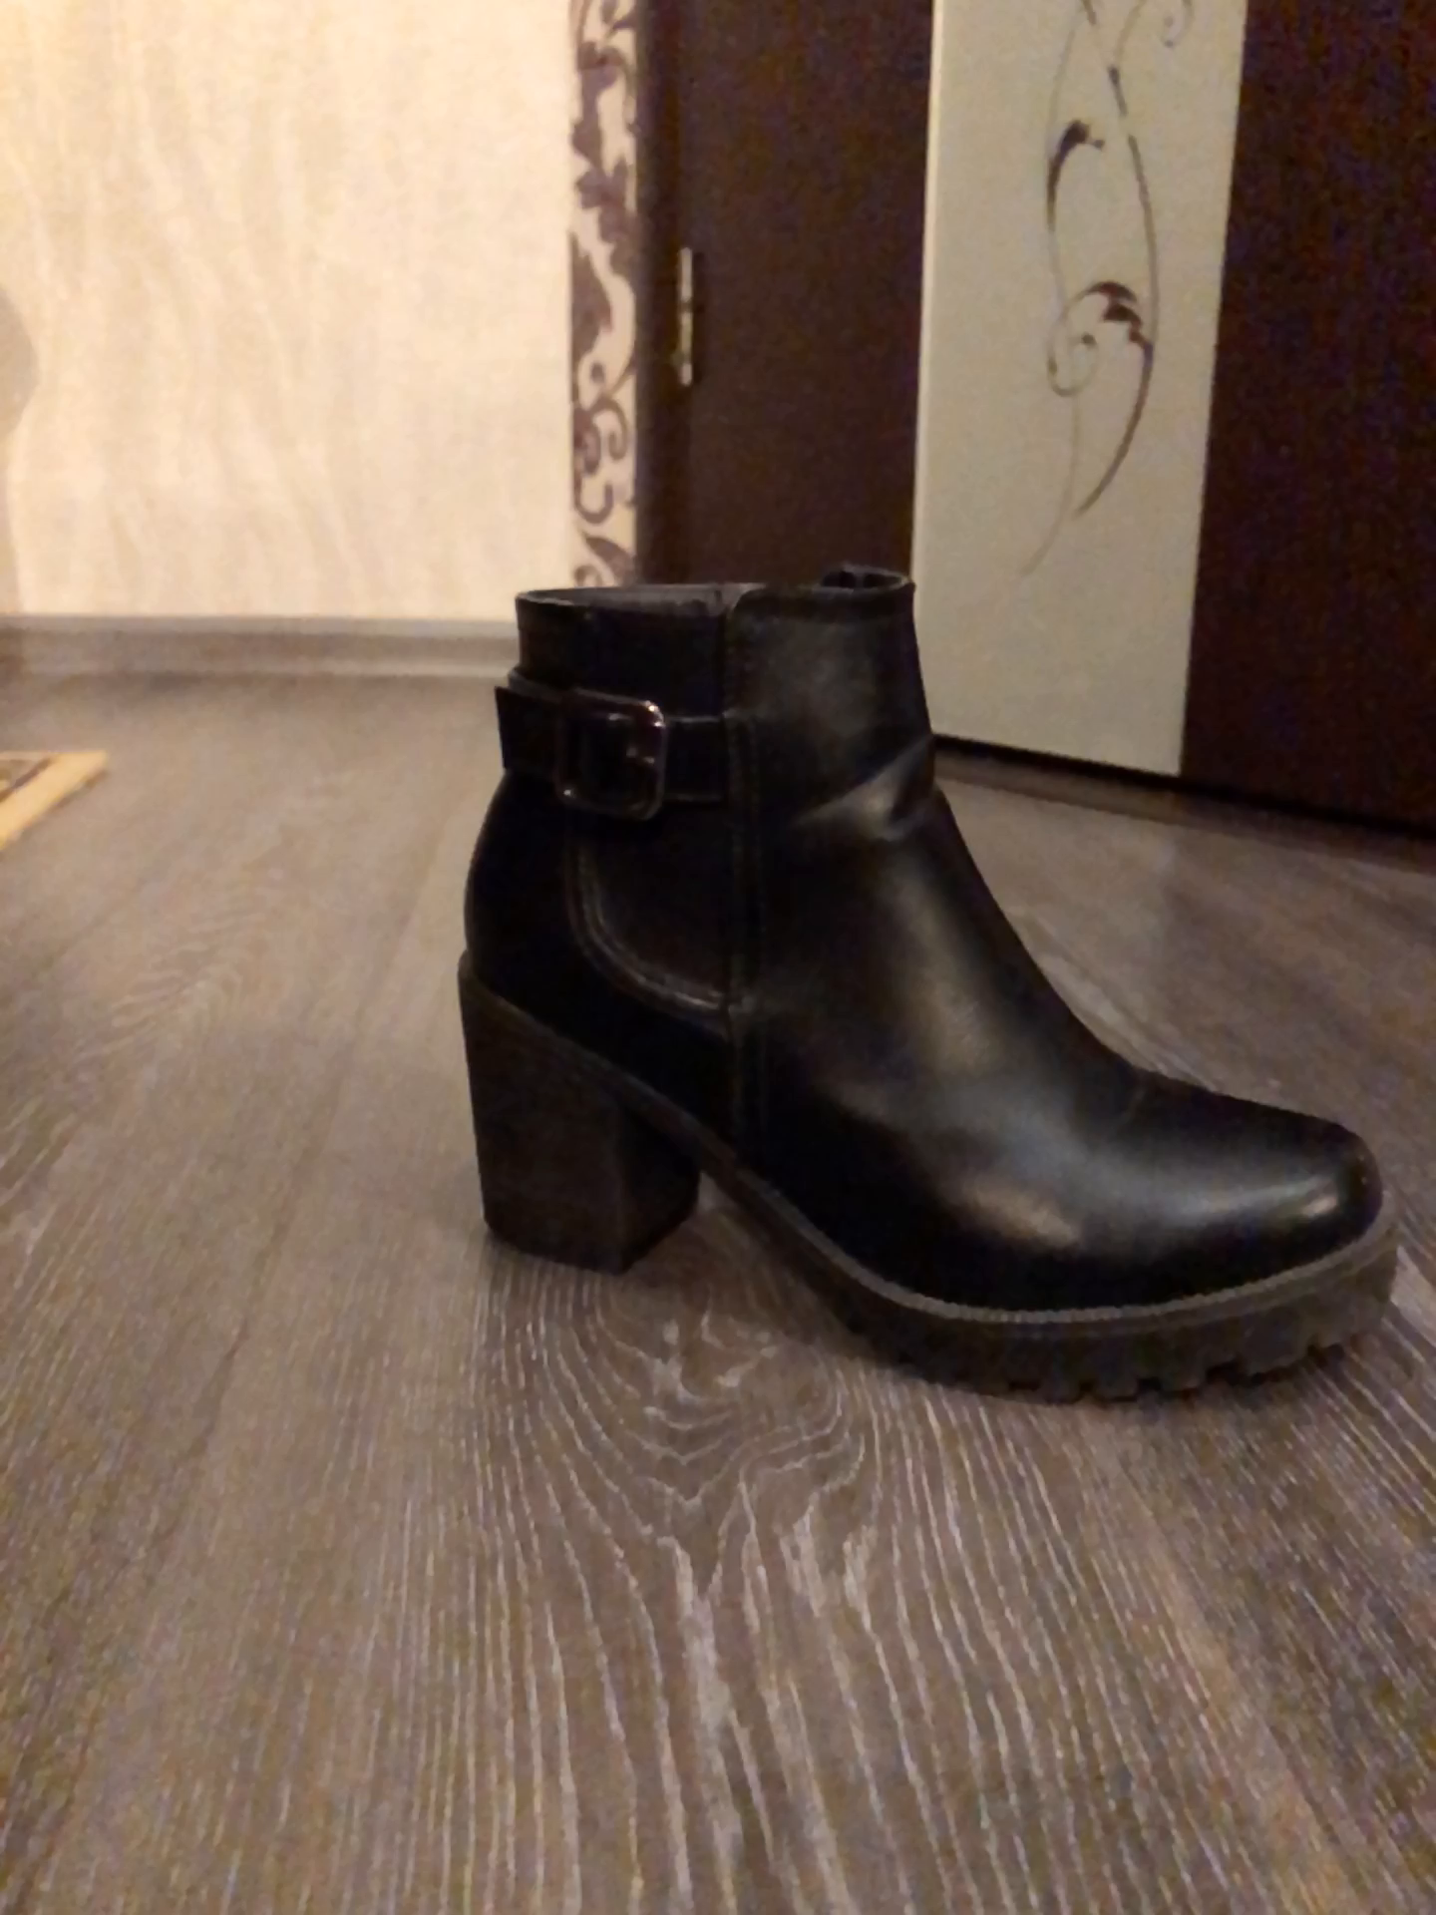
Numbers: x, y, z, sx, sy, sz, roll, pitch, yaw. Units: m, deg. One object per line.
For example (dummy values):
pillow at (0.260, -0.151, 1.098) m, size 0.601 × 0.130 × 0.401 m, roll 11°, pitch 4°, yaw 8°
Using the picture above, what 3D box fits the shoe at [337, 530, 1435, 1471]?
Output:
shoe at (0.043, -0.005, 0.380) m, size 0.240 × 0.179 × 0.090 m, roll 6°, pitch 17°, yaw 17°
